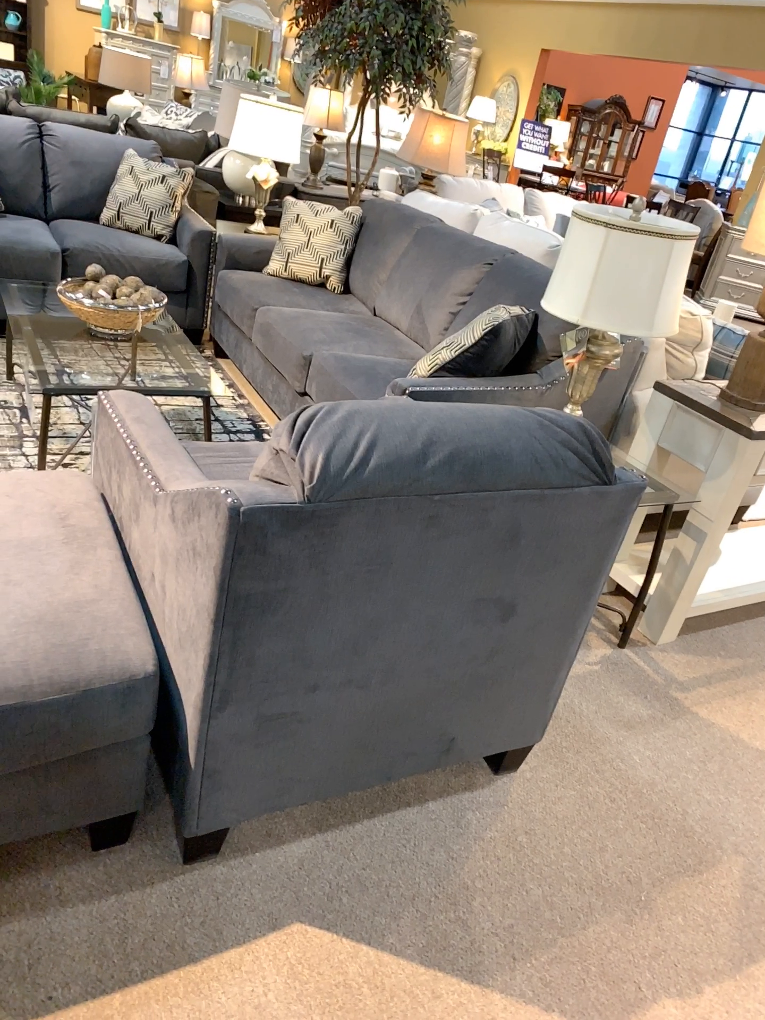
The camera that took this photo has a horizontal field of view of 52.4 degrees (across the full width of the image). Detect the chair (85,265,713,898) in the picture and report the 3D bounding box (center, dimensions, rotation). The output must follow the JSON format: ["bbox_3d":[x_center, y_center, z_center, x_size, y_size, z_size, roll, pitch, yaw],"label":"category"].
[{"bbox_3d":[-0.093,0.040,1.743,0.921,0.840,0.961,-4,32,-29],"label":"chair"}]
